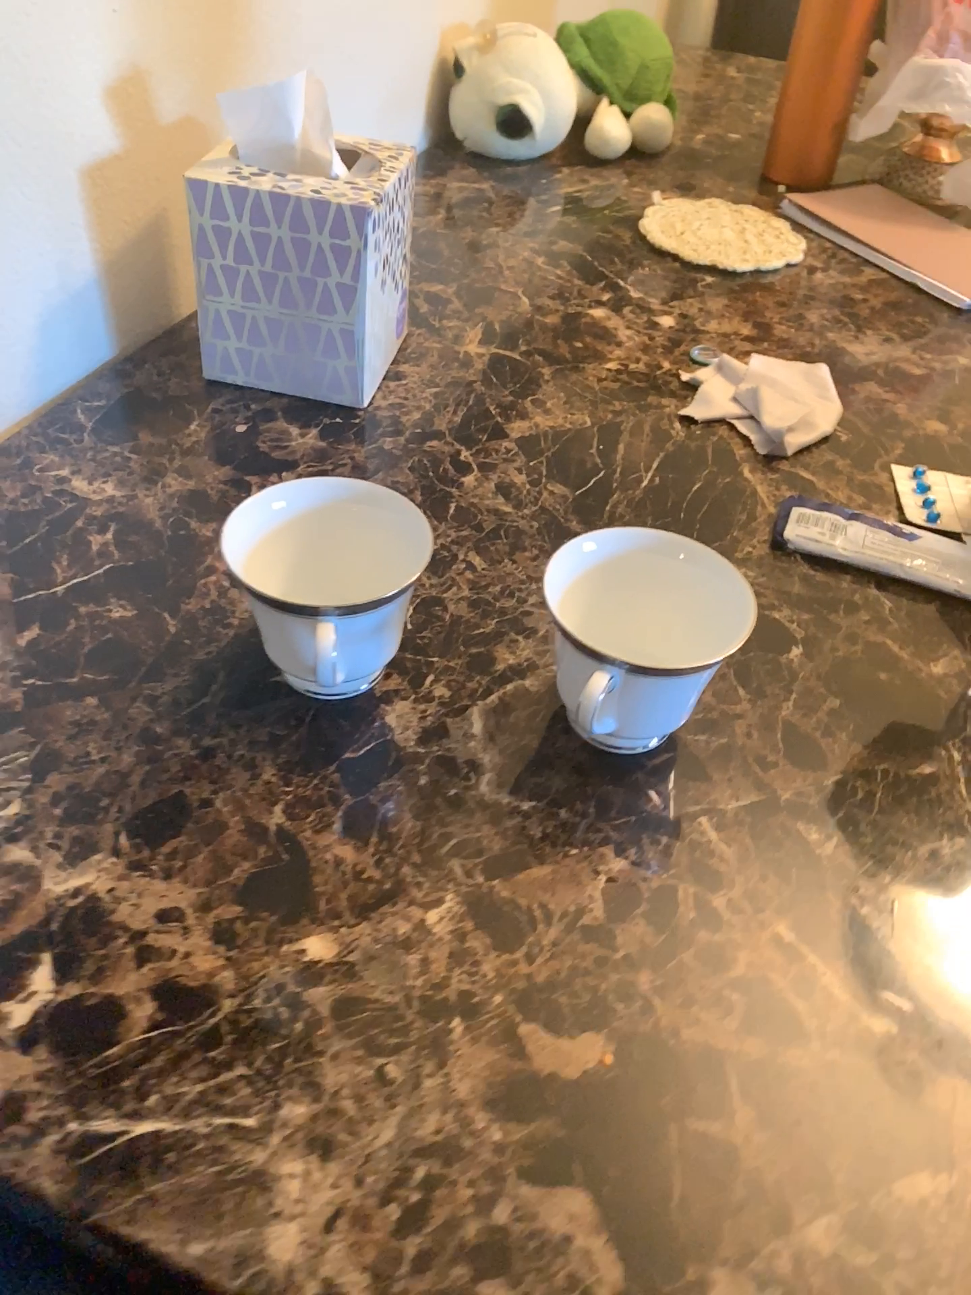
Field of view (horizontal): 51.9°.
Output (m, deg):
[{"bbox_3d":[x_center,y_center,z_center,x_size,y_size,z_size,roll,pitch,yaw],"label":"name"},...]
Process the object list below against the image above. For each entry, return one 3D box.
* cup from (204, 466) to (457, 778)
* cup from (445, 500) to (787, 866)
[{"bbox_3d":[-0.069,-0.014,0.426,0.090,0.070,0.111,-5,45,-12],"label":"cup"},{"bbox_3d":[0.056,0.010,0.428,0.090,0.070,0.120,27,47,21],"label":"cup"}]
